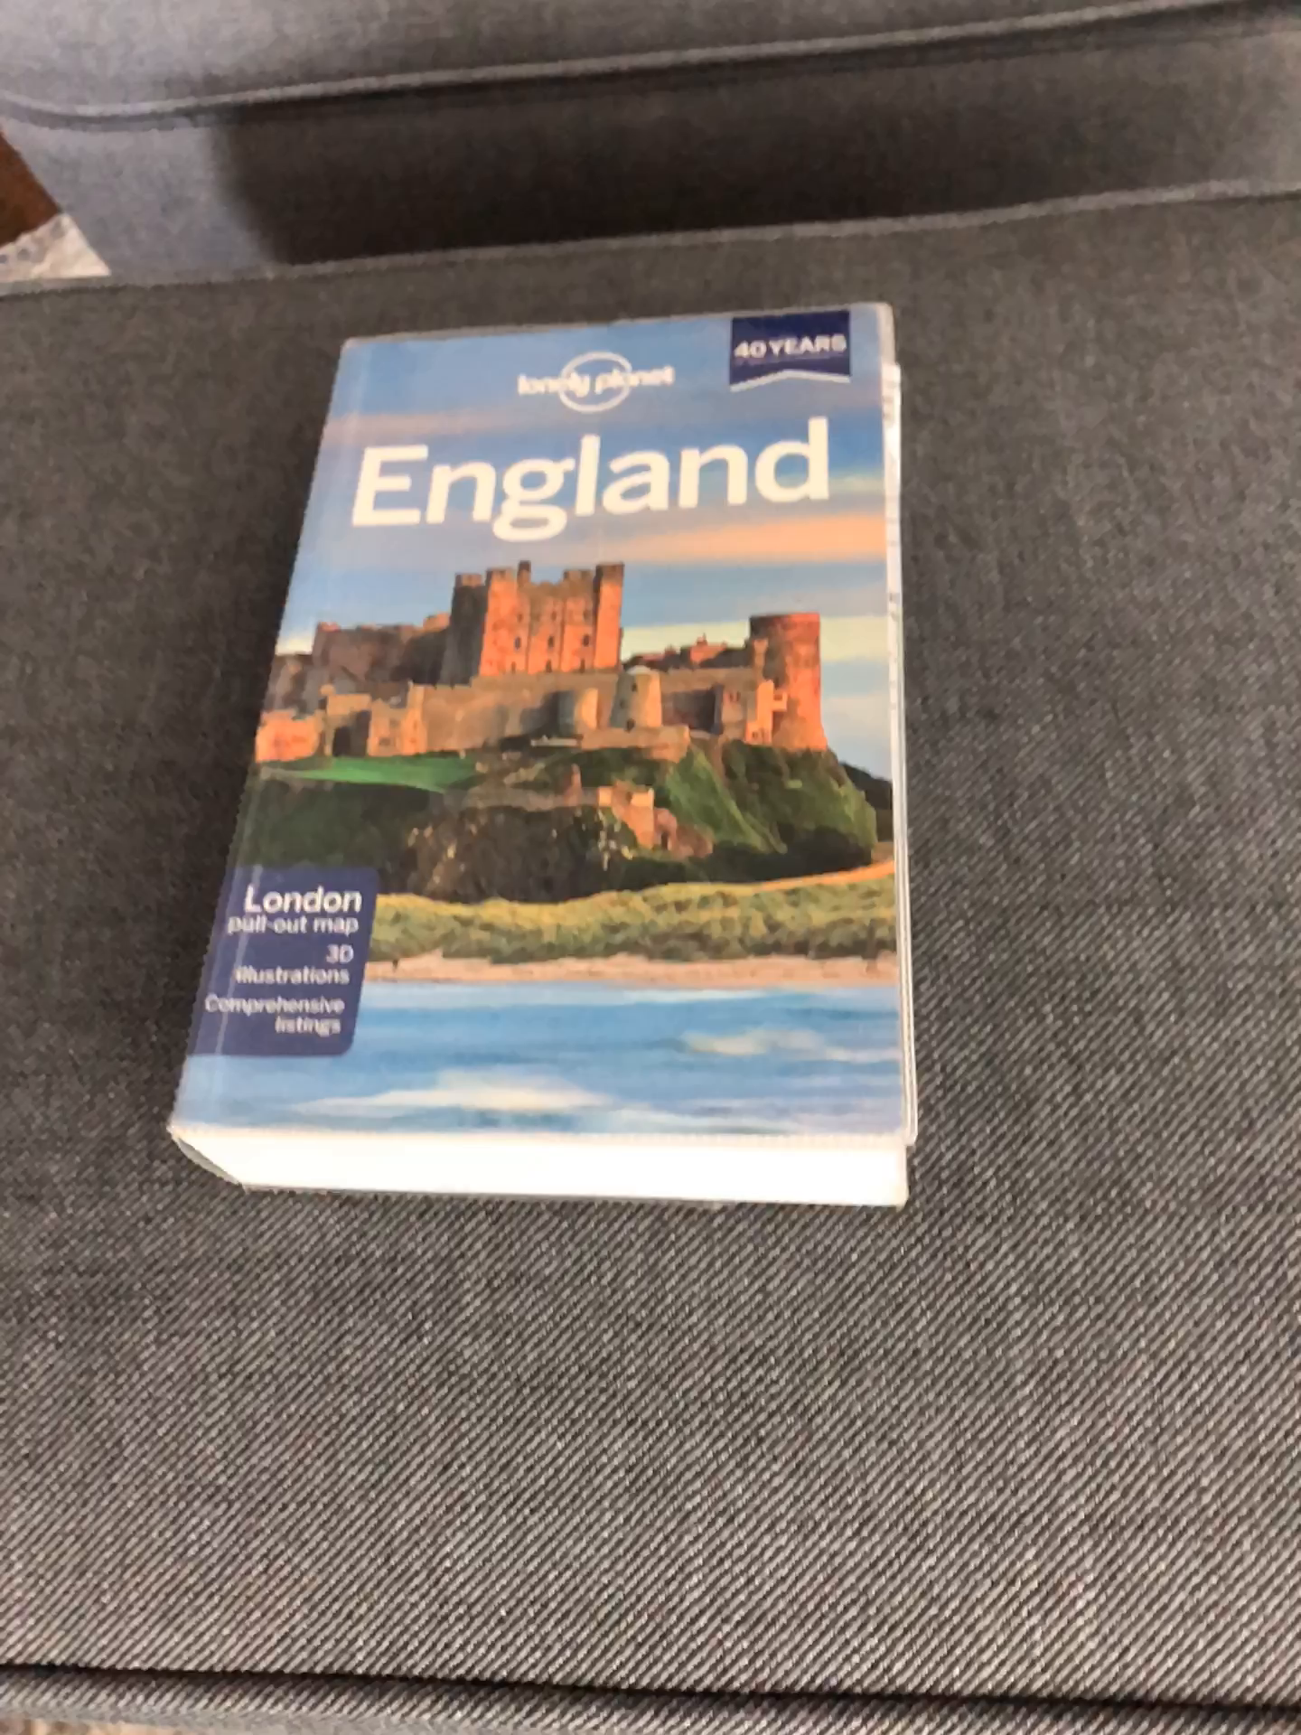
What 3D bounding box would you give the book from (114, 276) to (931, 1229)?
[{"bbox_3d":[-0.015,-0.031,0.300,0.135,0.040,0.200,-2,60,10],"label":"book"}]
